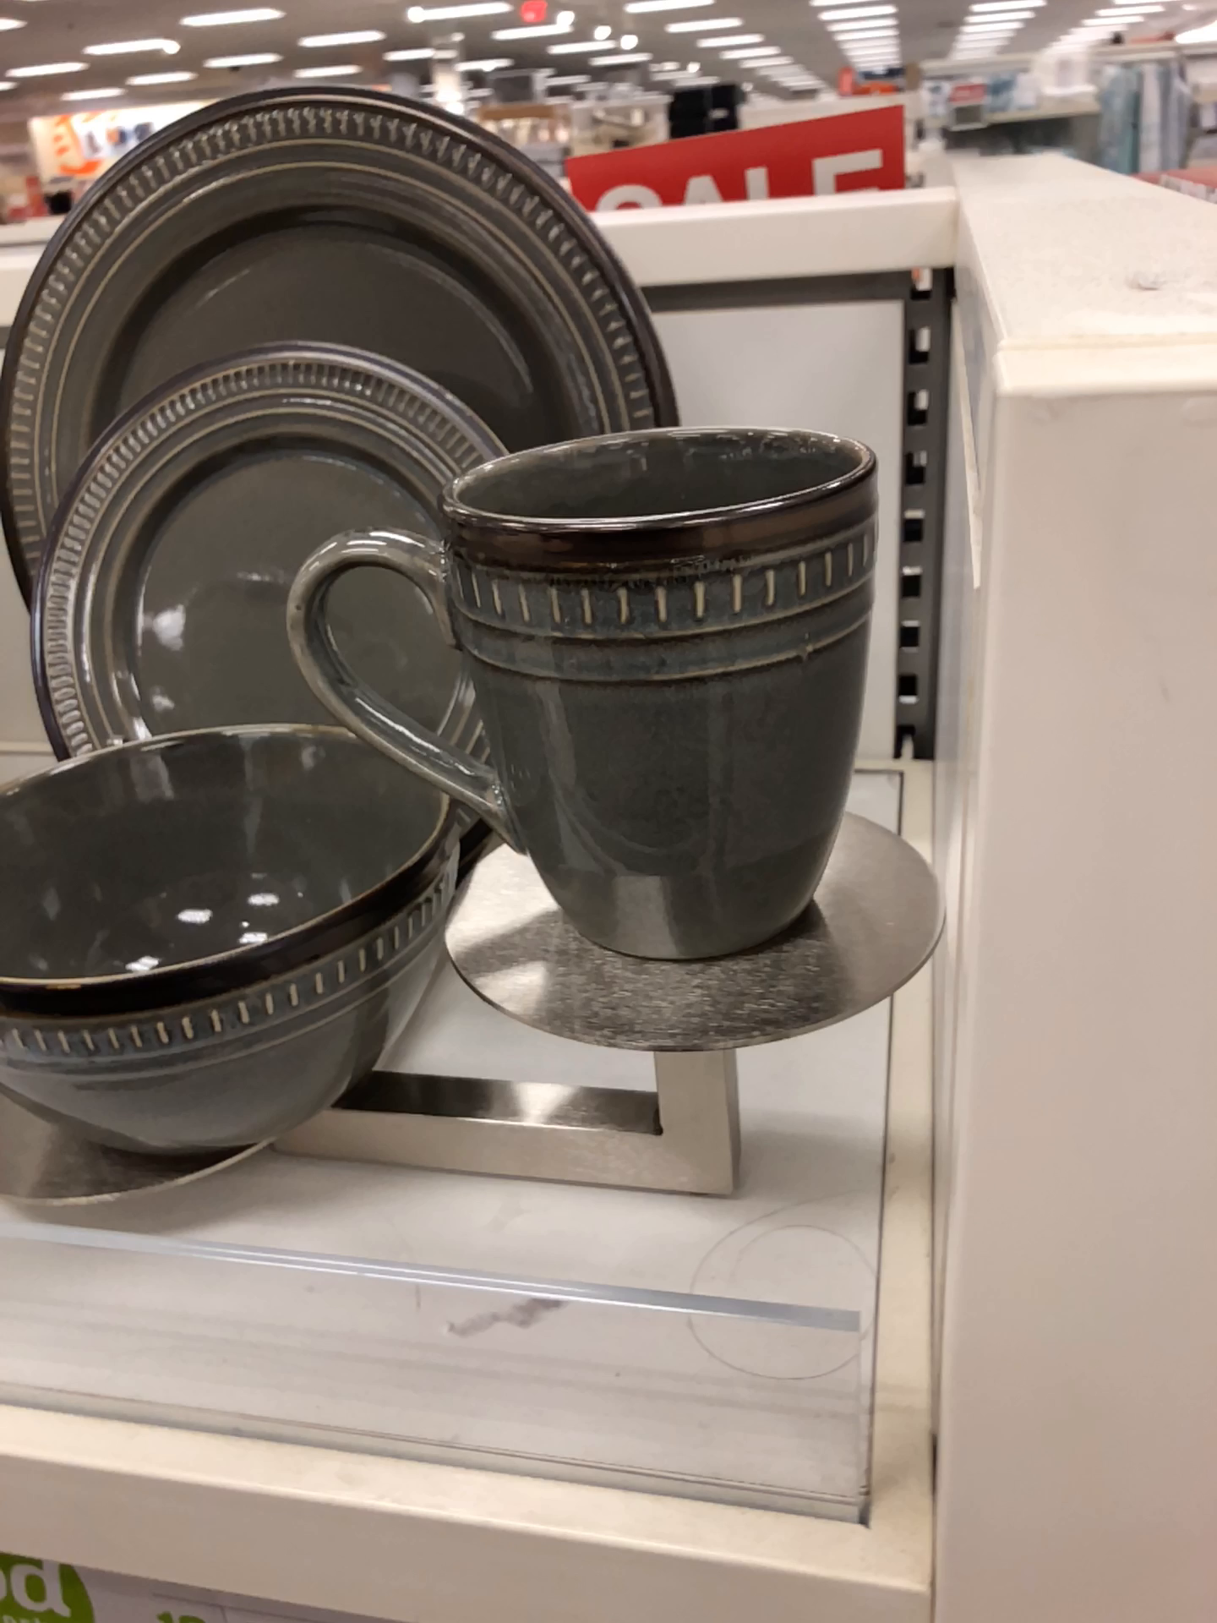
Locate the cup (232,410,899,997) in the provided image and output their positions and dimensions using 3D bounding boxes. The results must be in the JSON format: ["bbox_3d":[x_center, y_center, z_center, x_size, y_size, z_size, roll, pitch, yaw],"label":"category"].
[{"bbox_3d":[-0.003,-0.028,0.318,0.126,0.106,0.089,-3,25,4],"label":"cup"}]
